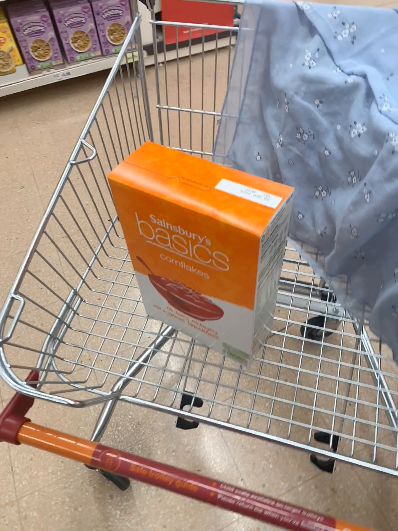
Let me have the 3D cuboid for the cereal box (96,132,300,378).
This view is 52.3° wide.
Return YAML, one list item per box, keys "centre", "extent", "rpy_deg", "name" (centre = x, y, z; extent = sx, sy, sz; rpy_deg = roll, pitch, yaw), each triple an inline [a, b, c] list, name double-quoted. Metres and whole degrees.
- centre: [0.001, 0.003, 0.553]
  extent: [0.211, 0.307, 0.080]
  rpy_deg: [24, 55, 22]
  name: "cereal box"
